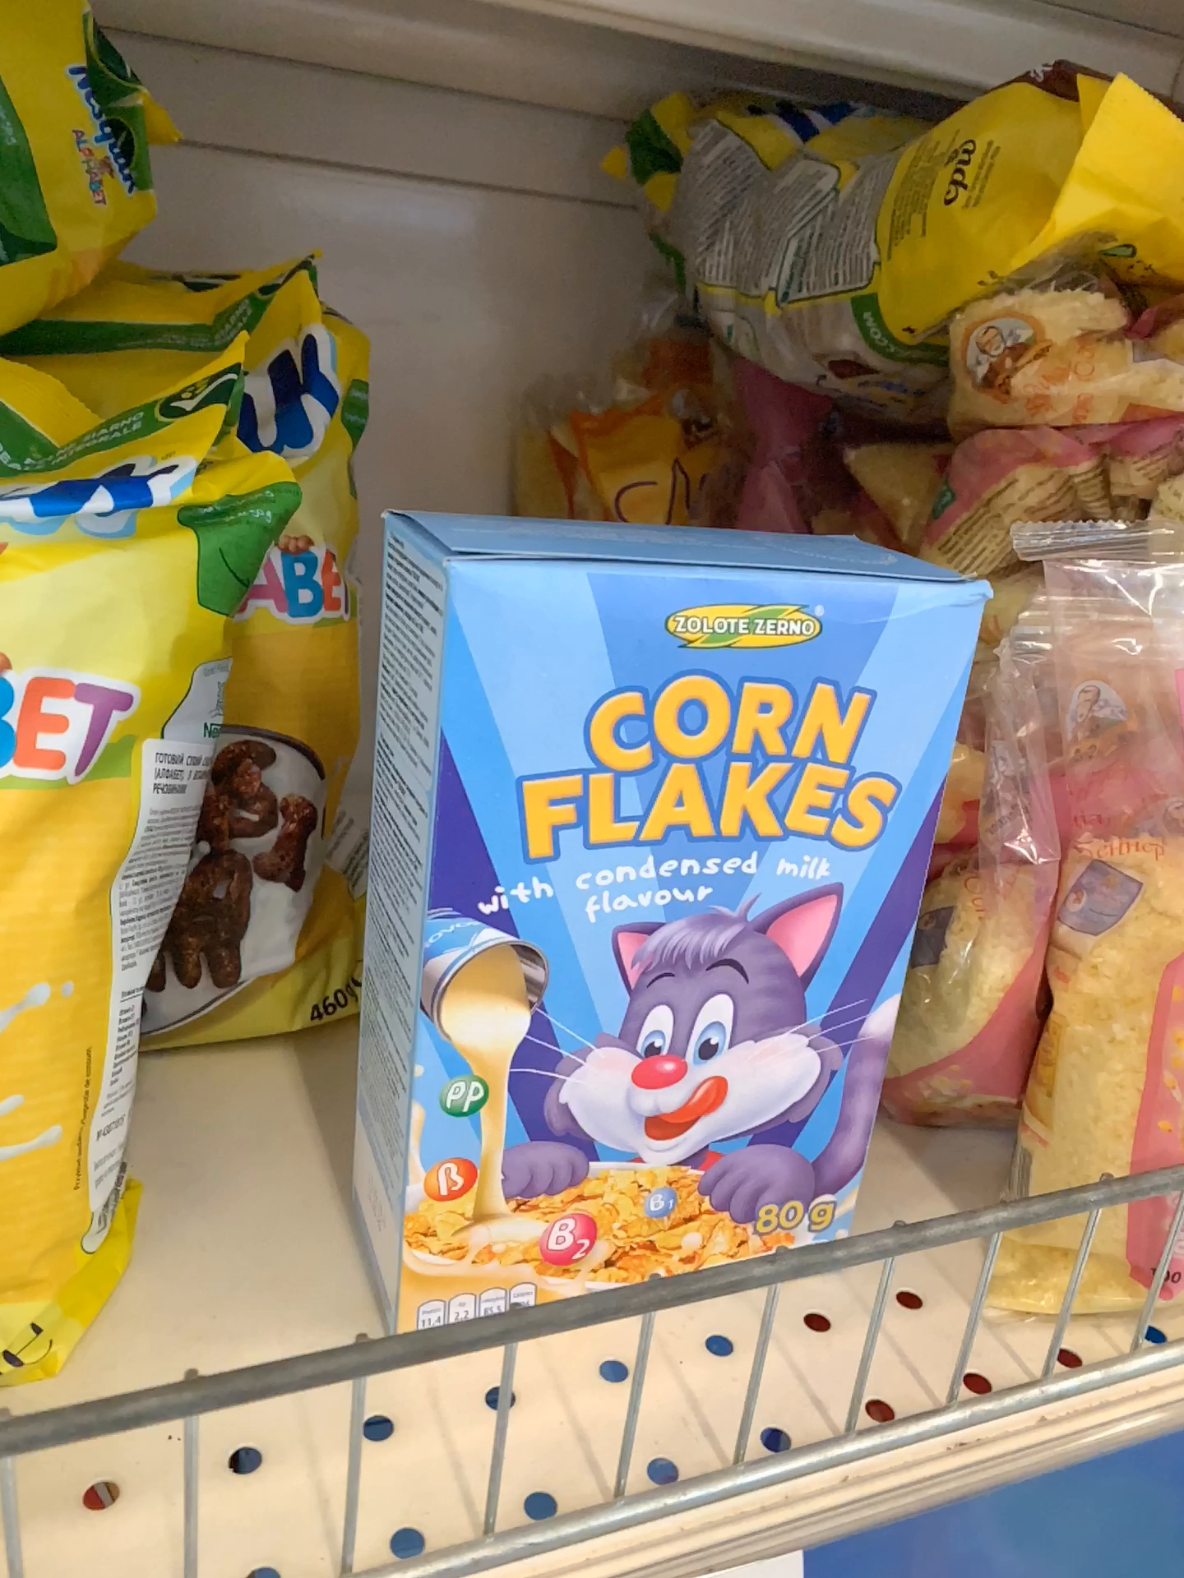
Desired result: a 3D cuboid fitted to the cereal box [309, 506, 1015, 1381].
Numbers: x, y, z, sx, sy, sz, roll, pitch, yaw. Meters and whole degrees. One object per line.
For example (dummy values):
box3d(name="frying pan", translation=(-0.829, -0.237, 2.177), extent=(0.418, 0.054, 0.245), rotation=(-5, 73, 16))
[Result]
box3d(name="cereal box", translation=(0.007, 0.028, 0.256), extent=(0.120, 0.159, 0.050), rotation=(-3, 21, -22))
